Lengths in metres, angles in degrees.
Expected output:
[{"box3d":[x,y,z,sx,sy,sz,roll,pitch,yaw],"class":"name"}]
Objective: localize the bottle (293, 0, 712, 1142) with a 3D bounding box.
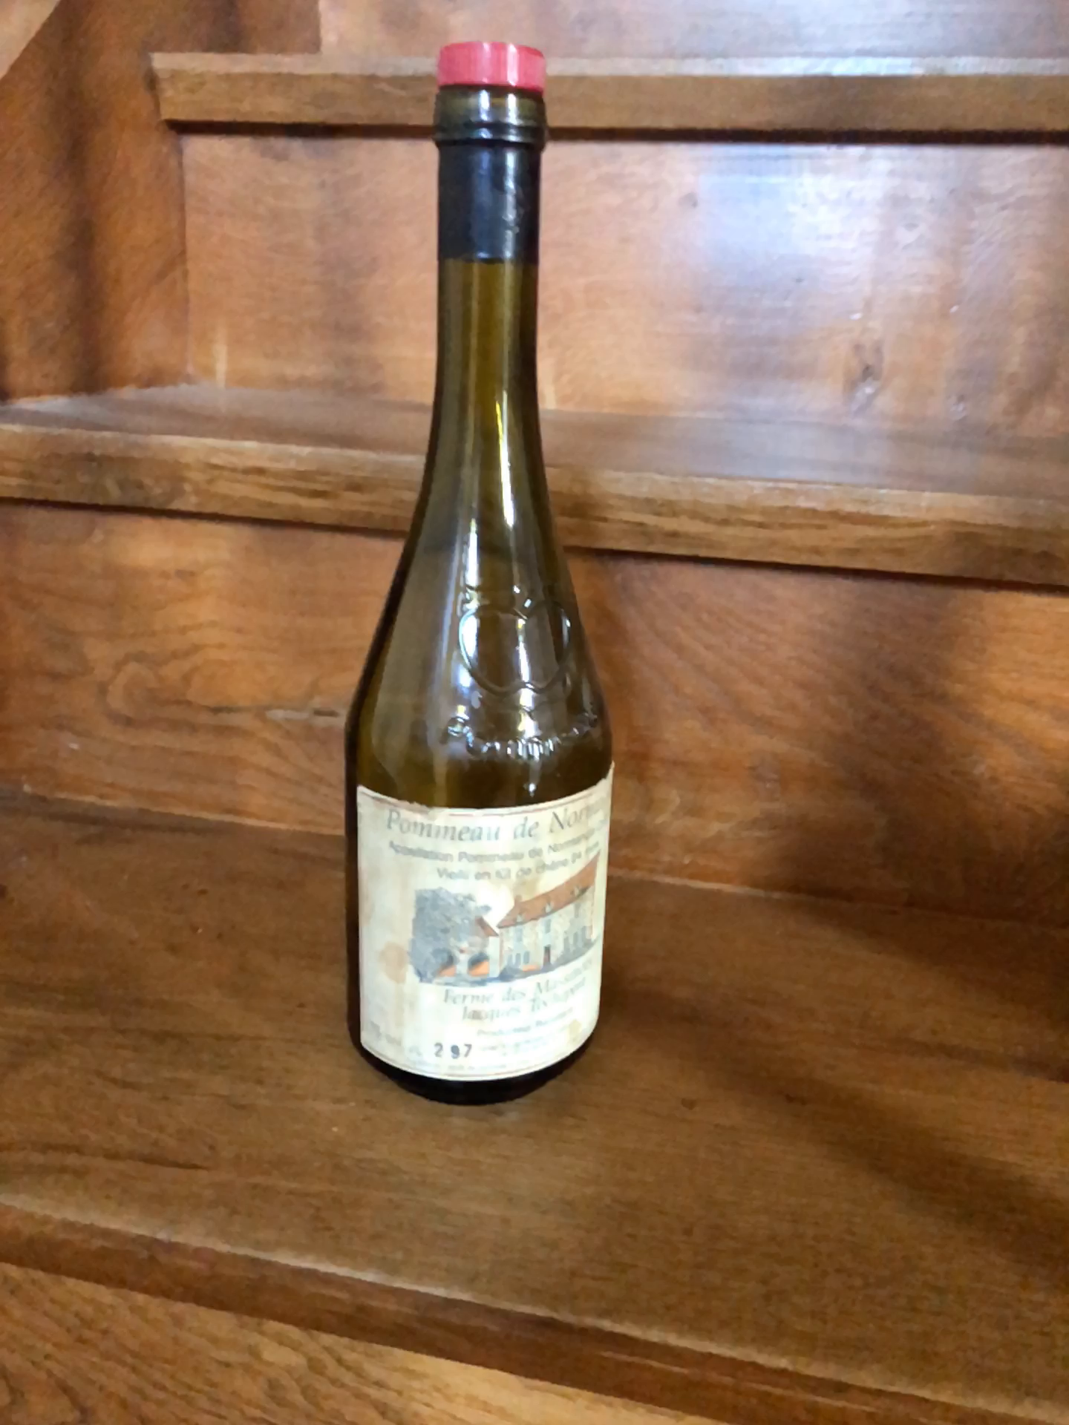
[{"box3d":[-0.019,-0.035,0.363,0.090,0.309,0.090,2,18,-1],"class":"bottle"}]
